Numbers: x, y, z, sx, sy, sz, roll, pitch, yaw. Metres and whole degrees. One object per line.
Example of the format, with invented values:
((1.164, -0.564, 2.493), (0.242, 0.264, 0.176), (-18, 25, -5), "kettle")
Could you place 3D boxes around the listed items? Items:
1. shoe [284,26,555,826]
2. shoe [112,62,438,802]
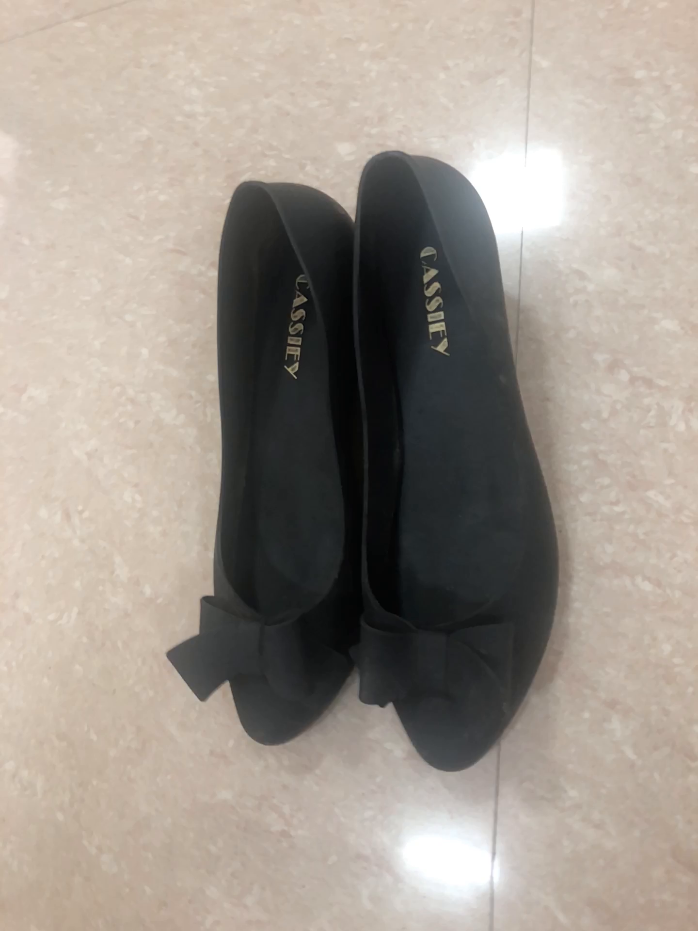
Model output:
((0.038, -0.018, 0.354), (0.090, 0.090, 0.310), (-2, 81, 25), "shoe")
((-0.028, -0.017, 0.379), (0.090, 0.090, 0.310), (3, 83, 26), "shoe")
